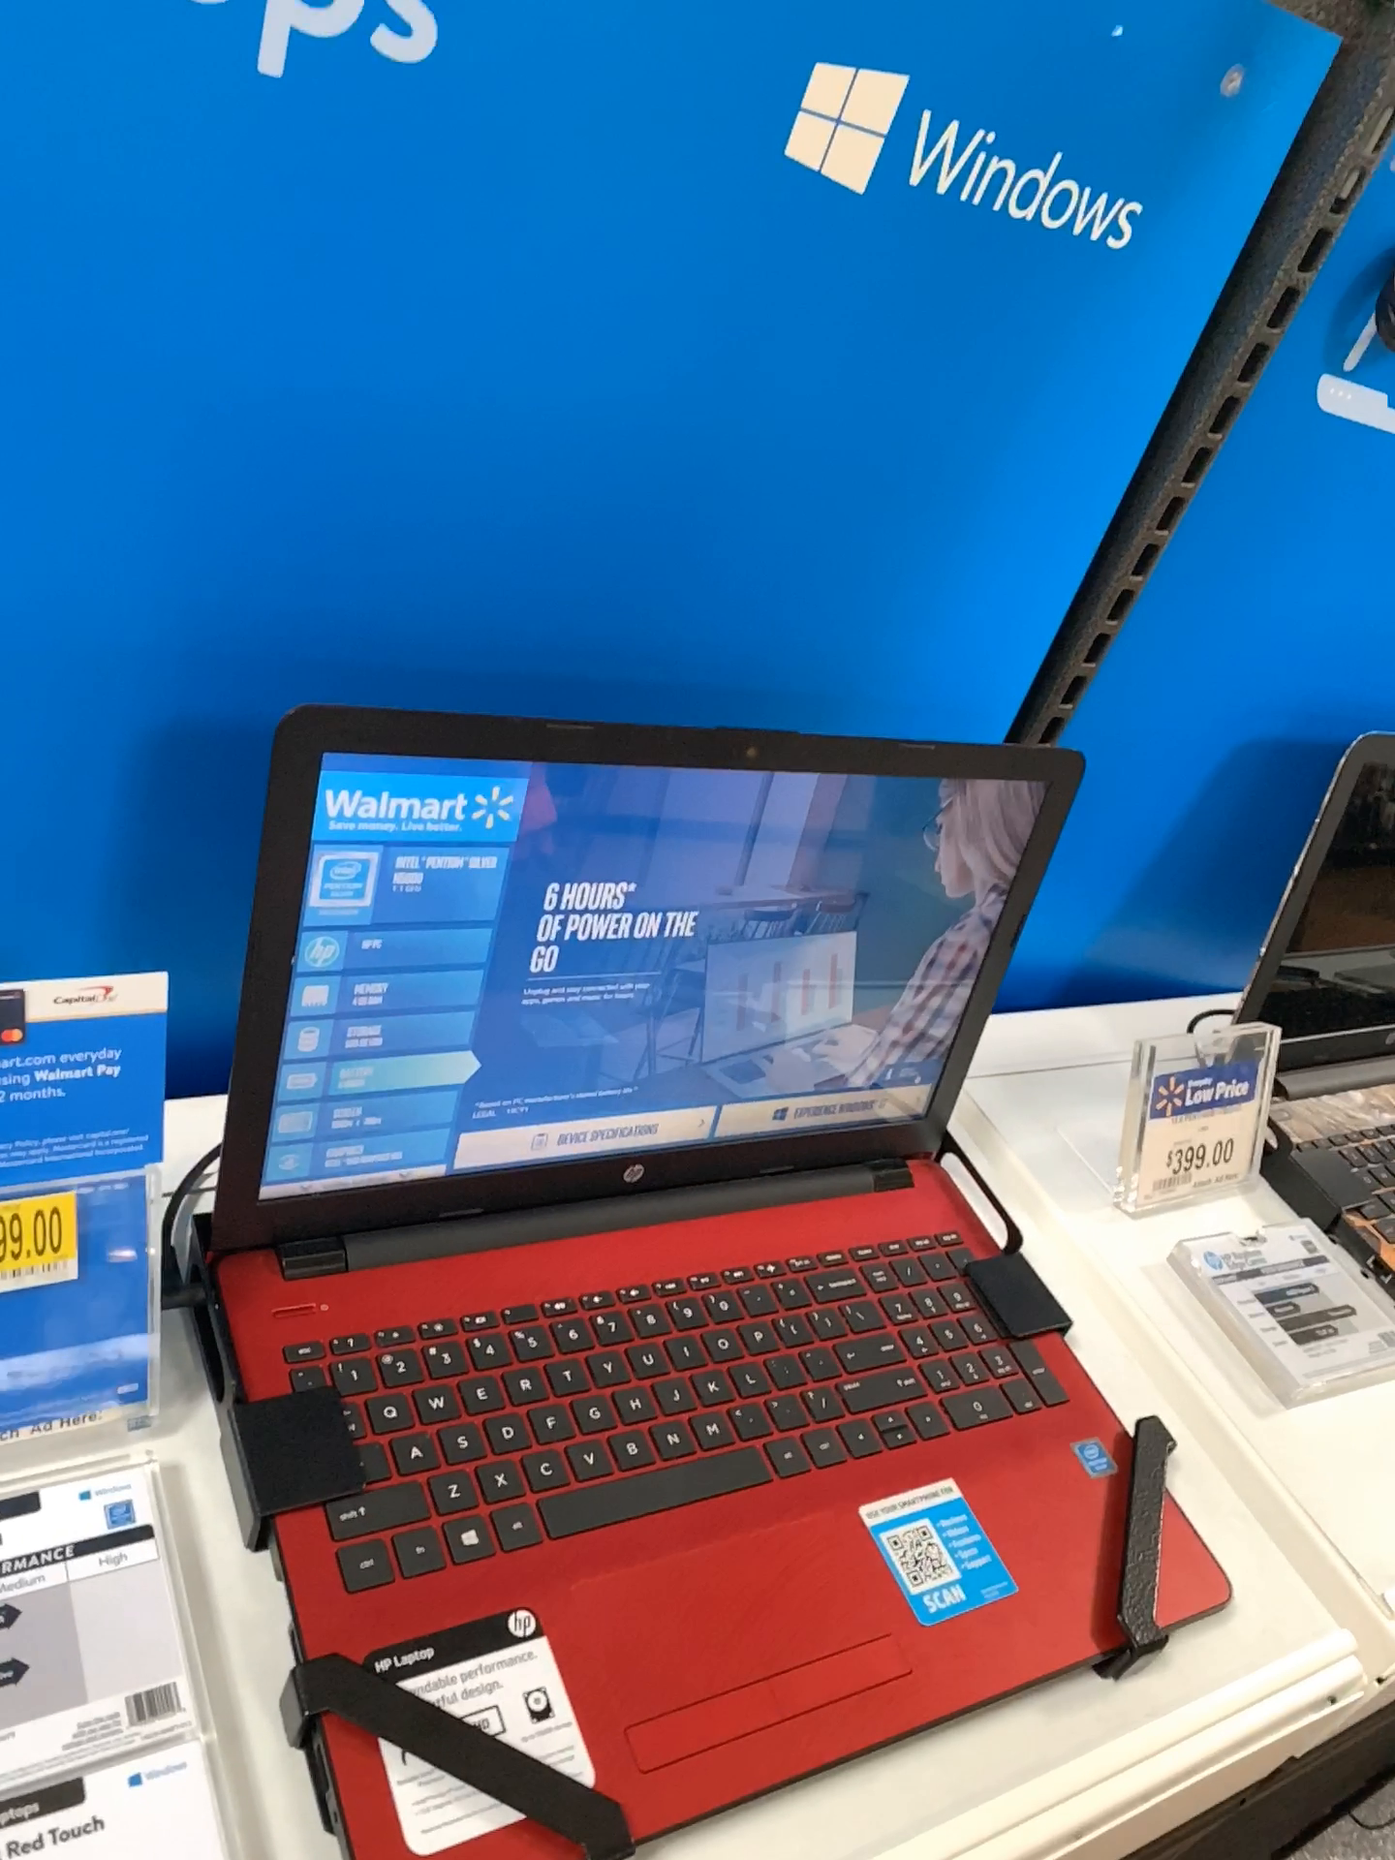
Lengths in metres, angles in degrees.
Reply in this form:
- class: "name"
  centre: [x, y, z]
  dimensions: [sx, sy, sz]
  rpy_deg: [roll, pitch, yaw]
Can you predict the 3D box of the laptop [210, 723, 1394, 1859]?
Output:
- class: "laptop"
  centre: [0.047, 0.103, 0.530]
  dimensions: [0.364, 0.223, 0.280]
  rpy_deg: [-2, 41, -32]
